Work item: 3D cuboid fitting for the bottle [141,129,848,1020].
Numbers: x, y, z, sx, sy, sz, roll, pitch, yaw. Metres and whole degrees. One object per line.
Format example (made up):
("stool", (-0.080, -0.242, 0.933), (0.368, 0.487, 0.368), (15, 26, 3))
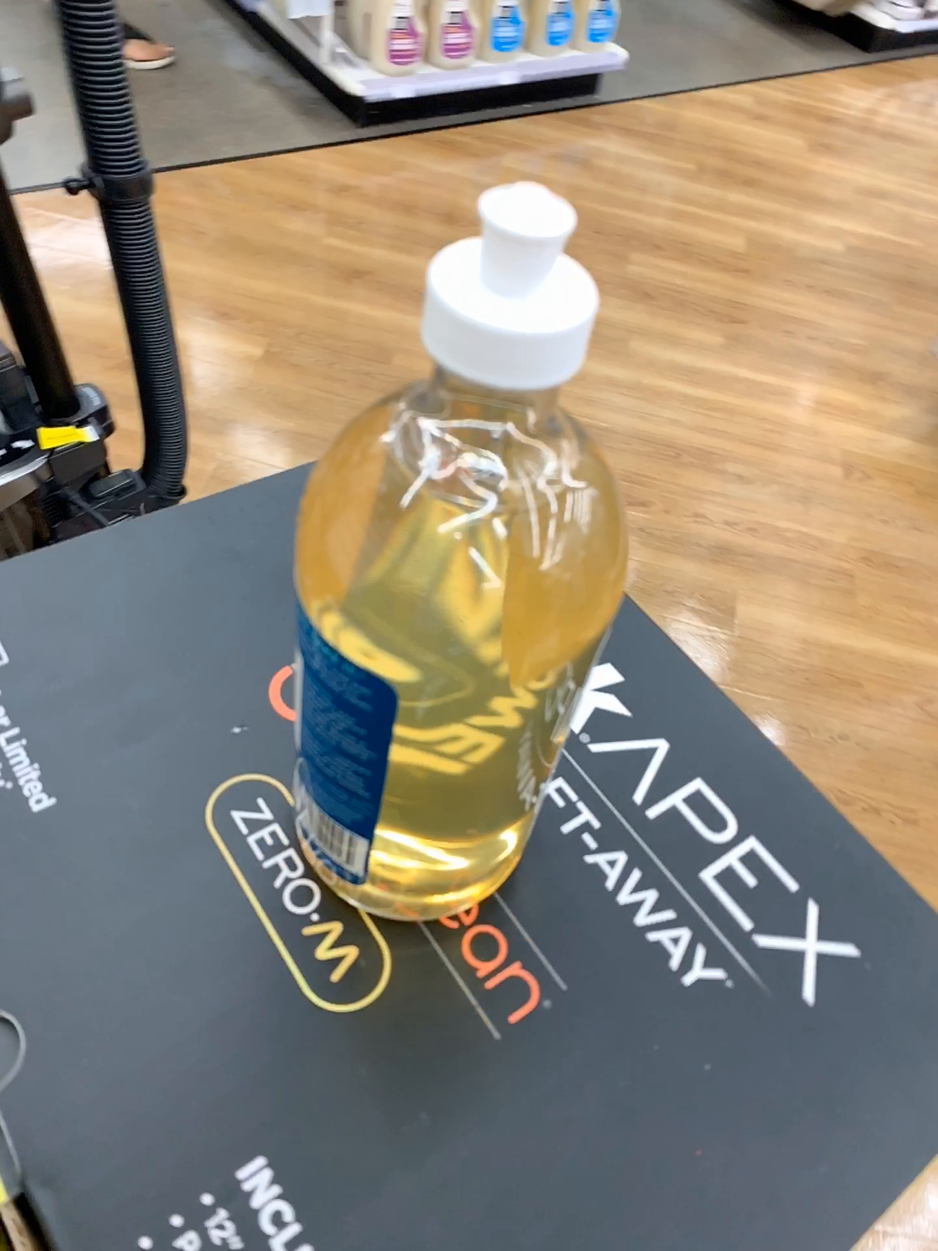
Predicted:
("bottle", (-0.014, 0.006, 0.238), (0.090, 0.209, 0.090), (5, 51, -6))
